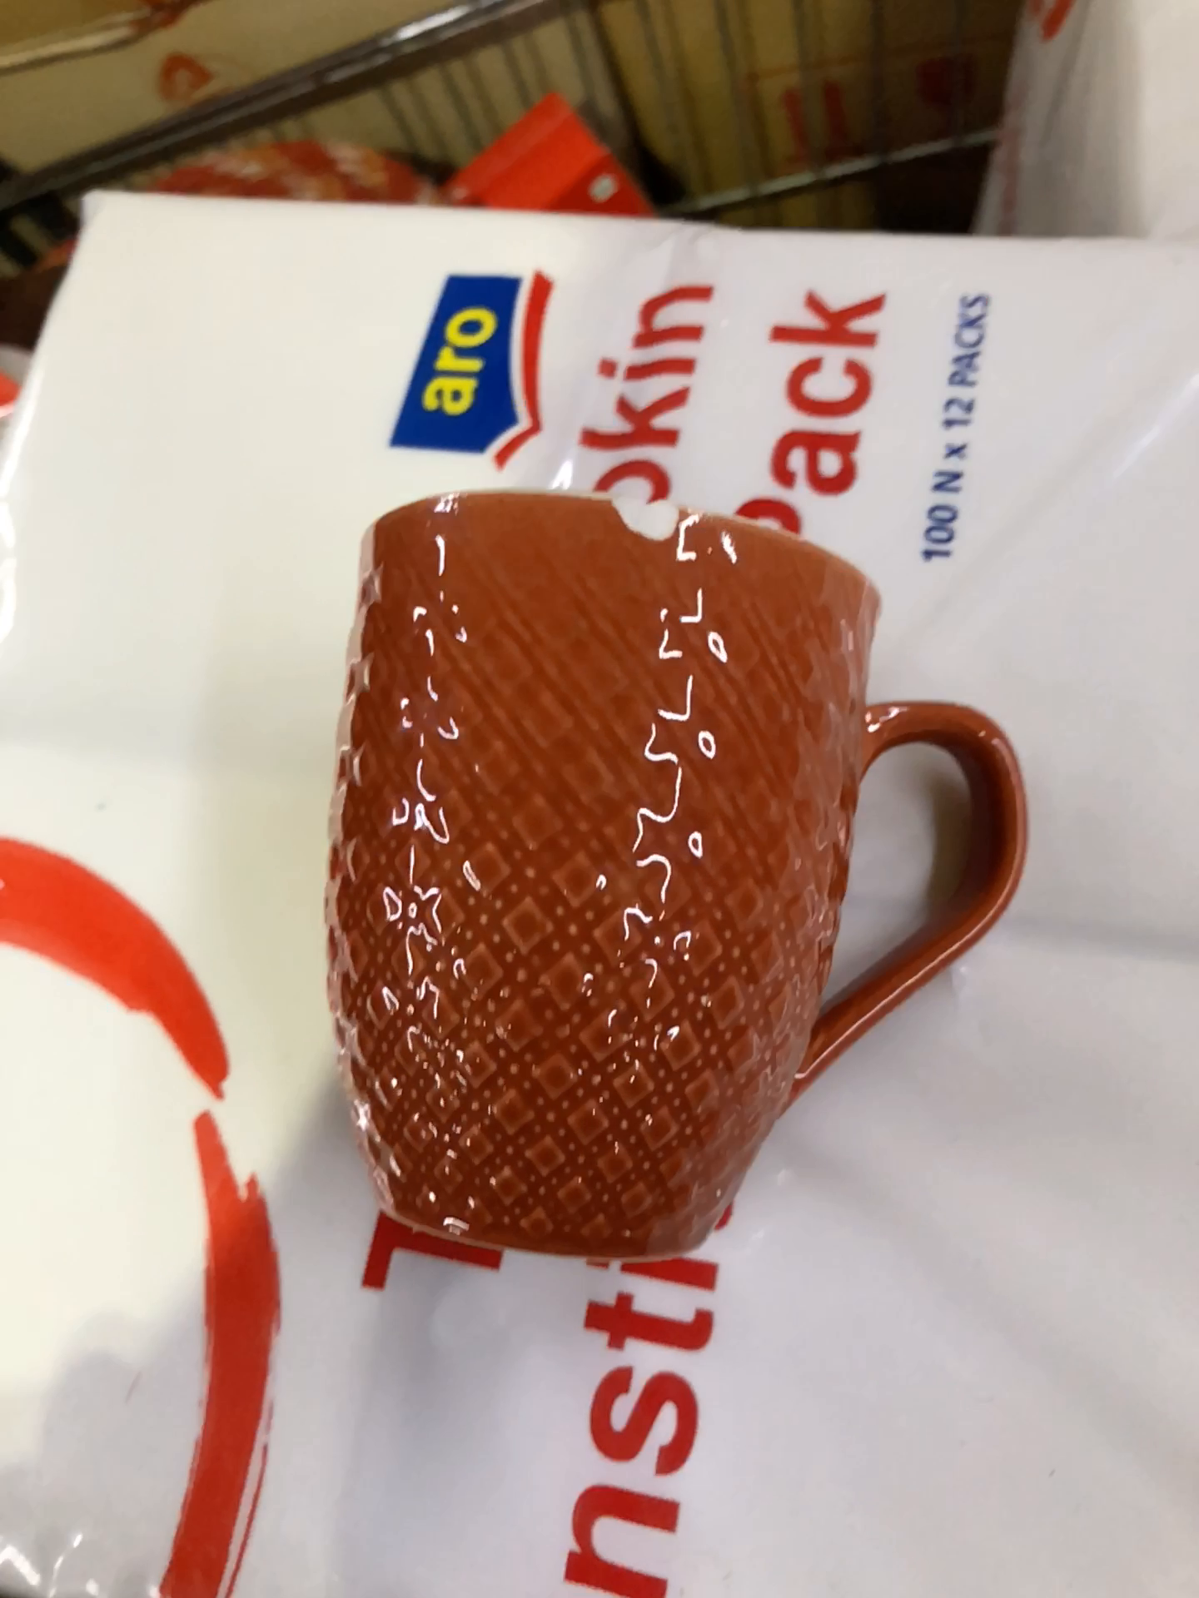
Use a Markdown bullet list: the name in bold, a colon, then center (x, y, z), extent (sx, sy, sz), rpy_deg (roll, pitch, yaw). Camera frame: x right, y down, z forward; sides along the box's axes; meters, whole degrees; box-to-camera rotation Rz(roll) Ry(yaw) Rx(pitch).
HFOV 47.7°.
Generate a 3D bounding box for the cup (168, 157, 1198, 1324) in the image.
- **cup**: center (0.017, 0.004, 0.161), extent (0.070, 0.100, 0.090), rpy_deg (-13, 64, 59)
